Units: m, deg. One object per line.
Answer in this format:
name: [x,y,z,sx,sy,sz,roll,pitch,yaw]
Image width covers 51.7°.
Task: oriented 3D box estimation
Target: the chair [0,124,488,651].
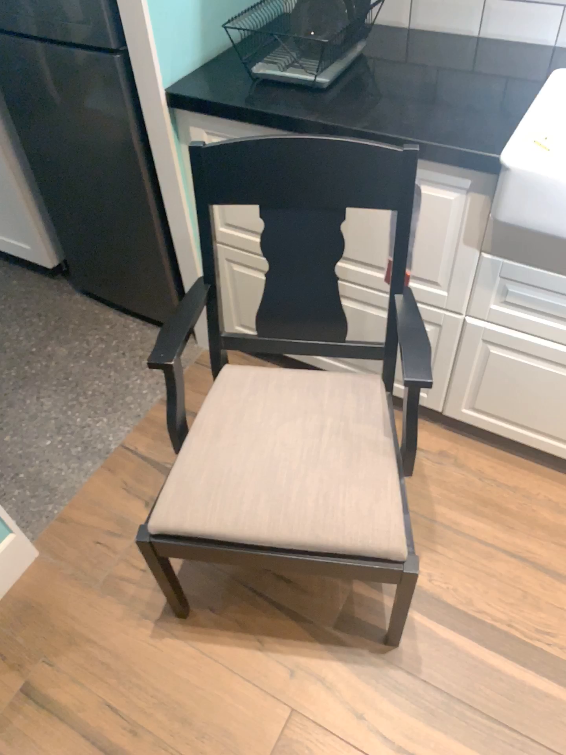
chair: [0.005,0.063,1.184,0.570,0.886,0.592,4,48,8]
